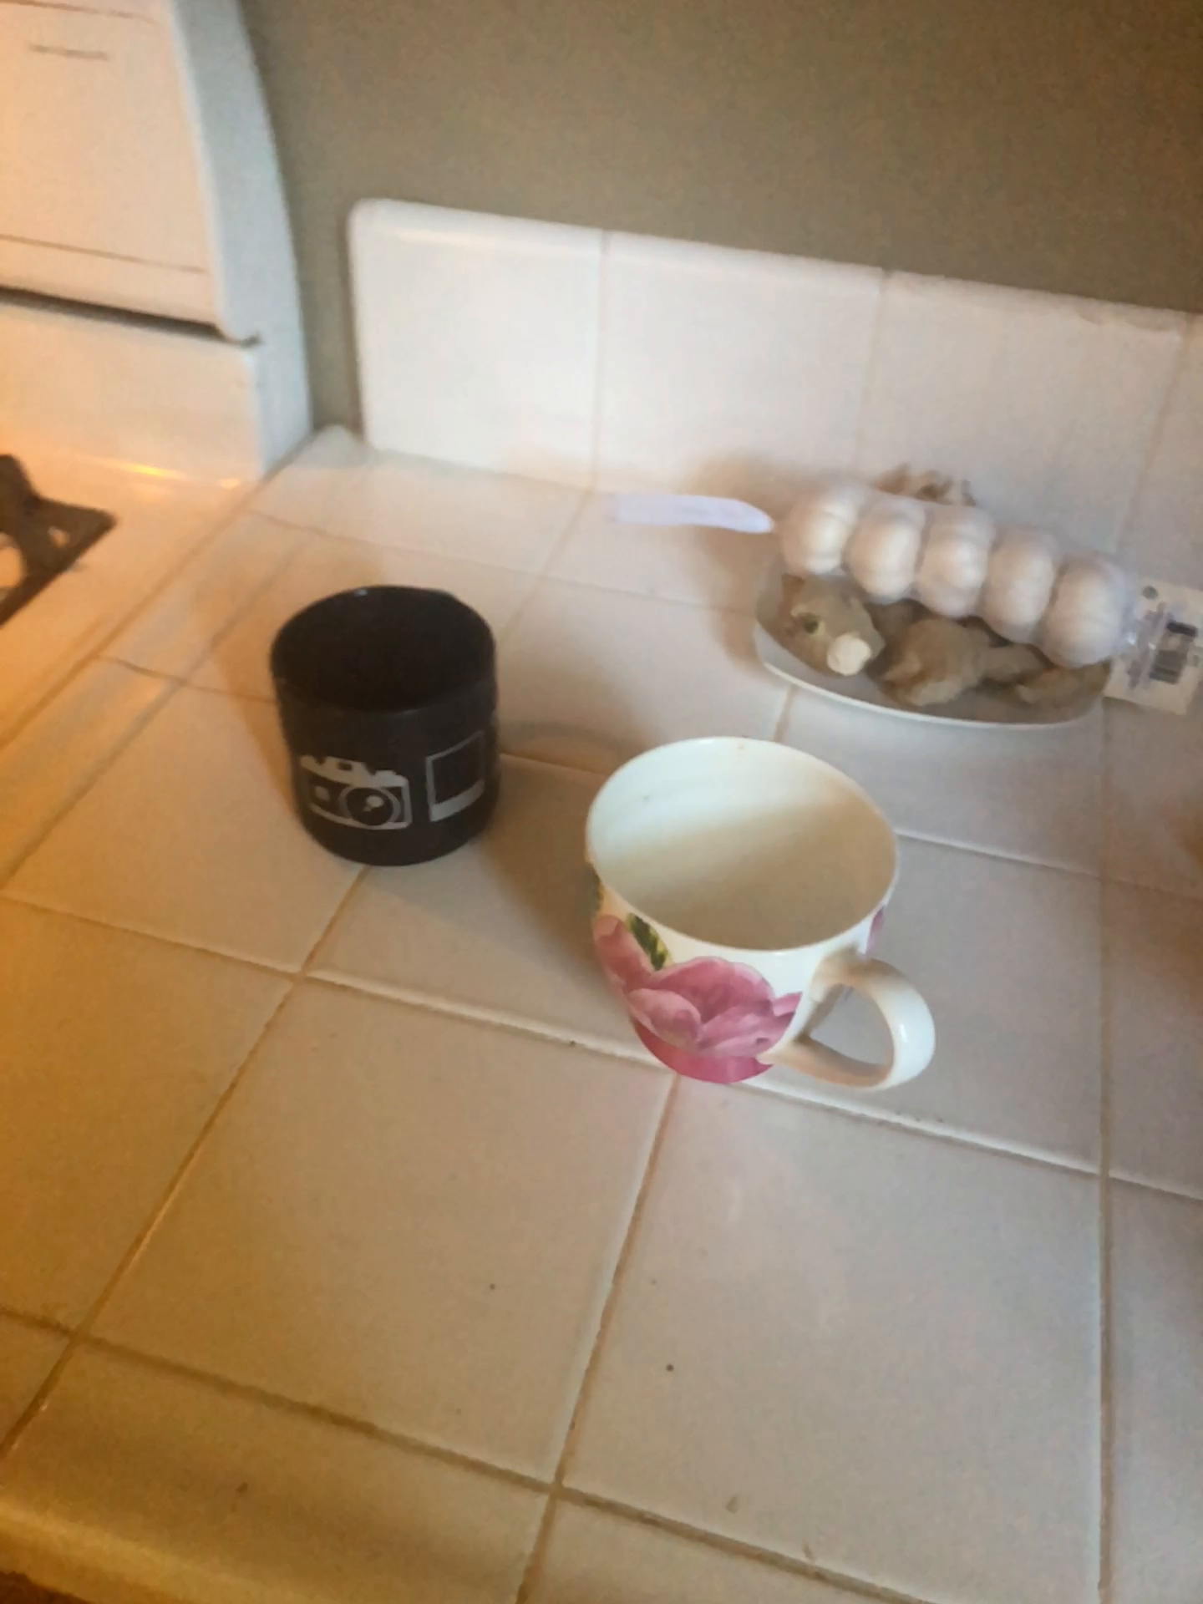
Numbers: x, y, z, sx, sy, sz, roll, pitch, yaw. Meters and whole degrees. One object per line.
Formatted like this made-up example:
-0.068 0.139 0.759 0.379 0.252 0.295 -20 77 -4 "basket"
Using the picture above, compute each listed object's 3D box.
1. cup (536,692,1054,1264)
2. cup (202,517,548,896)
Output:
0.055 0.053 0.459 0.100 0.089 0.151 -18 46 -21 "cup"
-0.088 -0.045 0.571 0.100 0.079 0.141 9 42 7 "cup"
